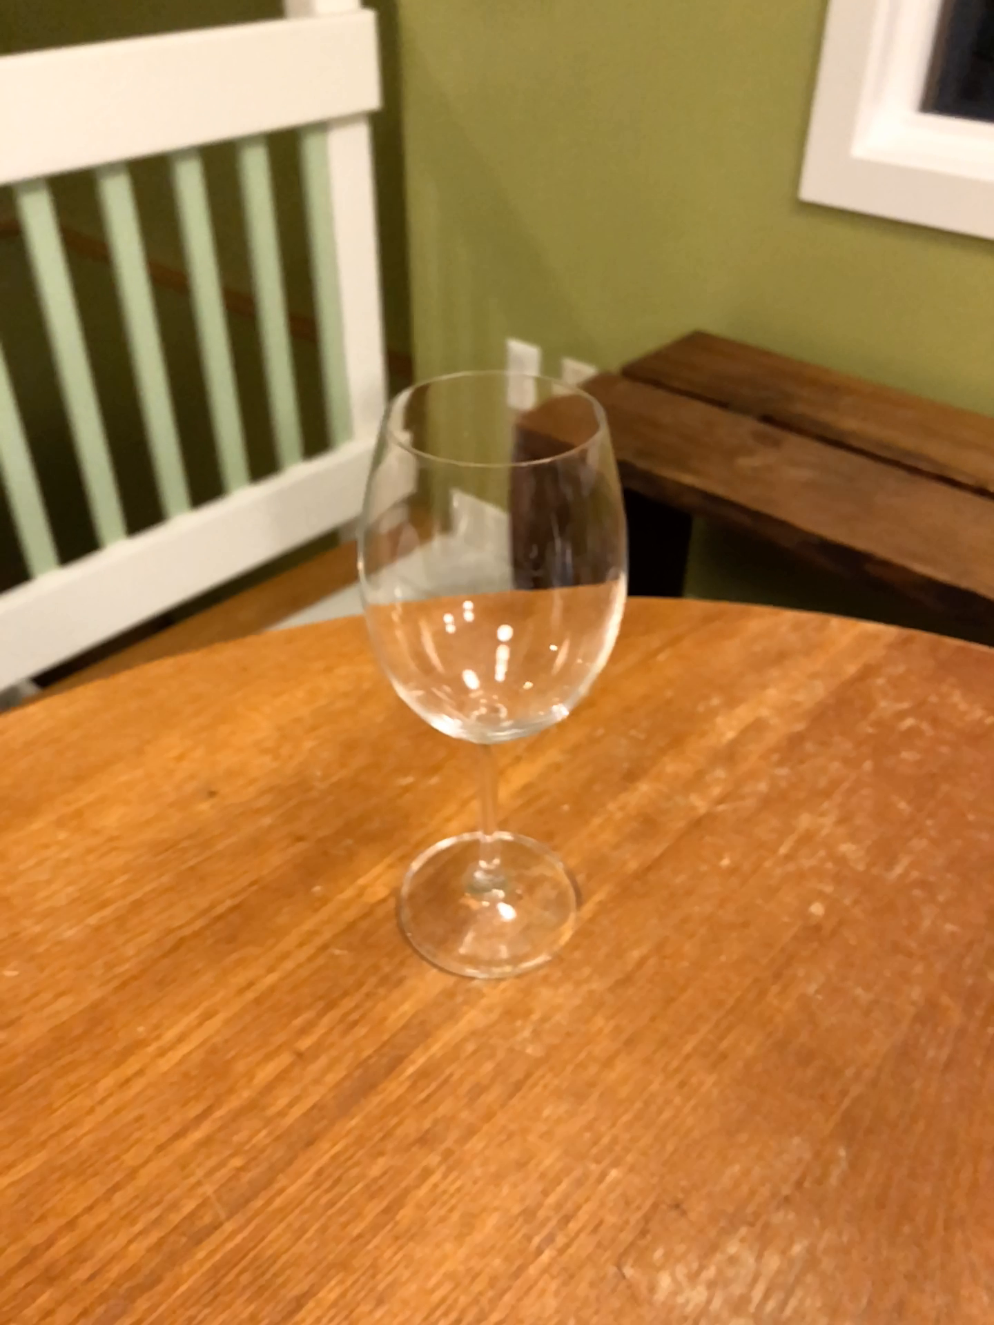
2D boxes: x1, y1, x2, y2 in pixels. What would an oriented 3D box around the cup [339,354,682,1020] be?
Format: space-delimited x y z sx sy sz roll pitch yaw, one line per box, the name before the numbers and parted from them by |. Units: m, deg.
cup | -0.001 0.017 0.433 0.097 0.240 0.101 0 36 0
